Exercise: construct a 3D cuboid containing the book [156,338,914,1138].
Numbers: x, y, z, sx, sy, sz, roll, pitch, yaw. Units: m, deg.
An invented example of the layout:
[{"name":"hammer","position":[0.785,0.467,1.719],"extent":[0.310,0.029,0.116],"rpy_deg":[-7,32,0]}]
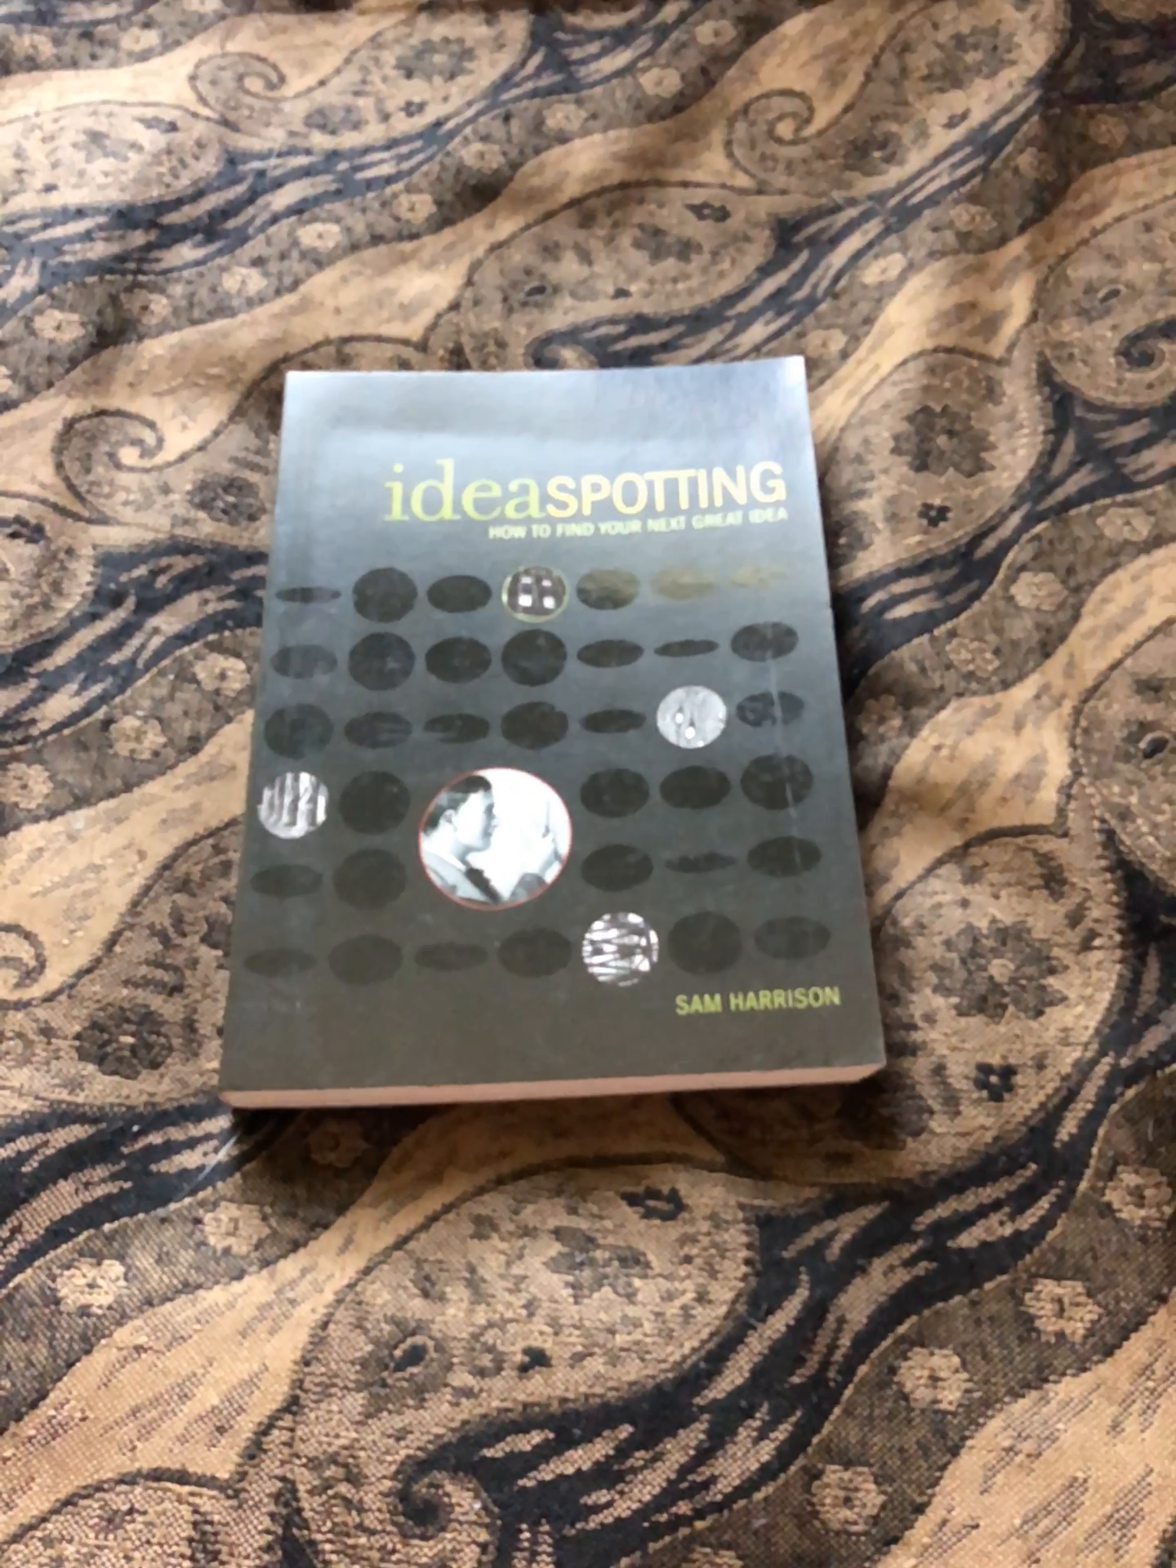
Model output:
[{"name":"book","position":[-0.011,-0.017,0.301],"extent":[0.140,0.040,0.180],"rpy_deg":[-2,64,0]}]
